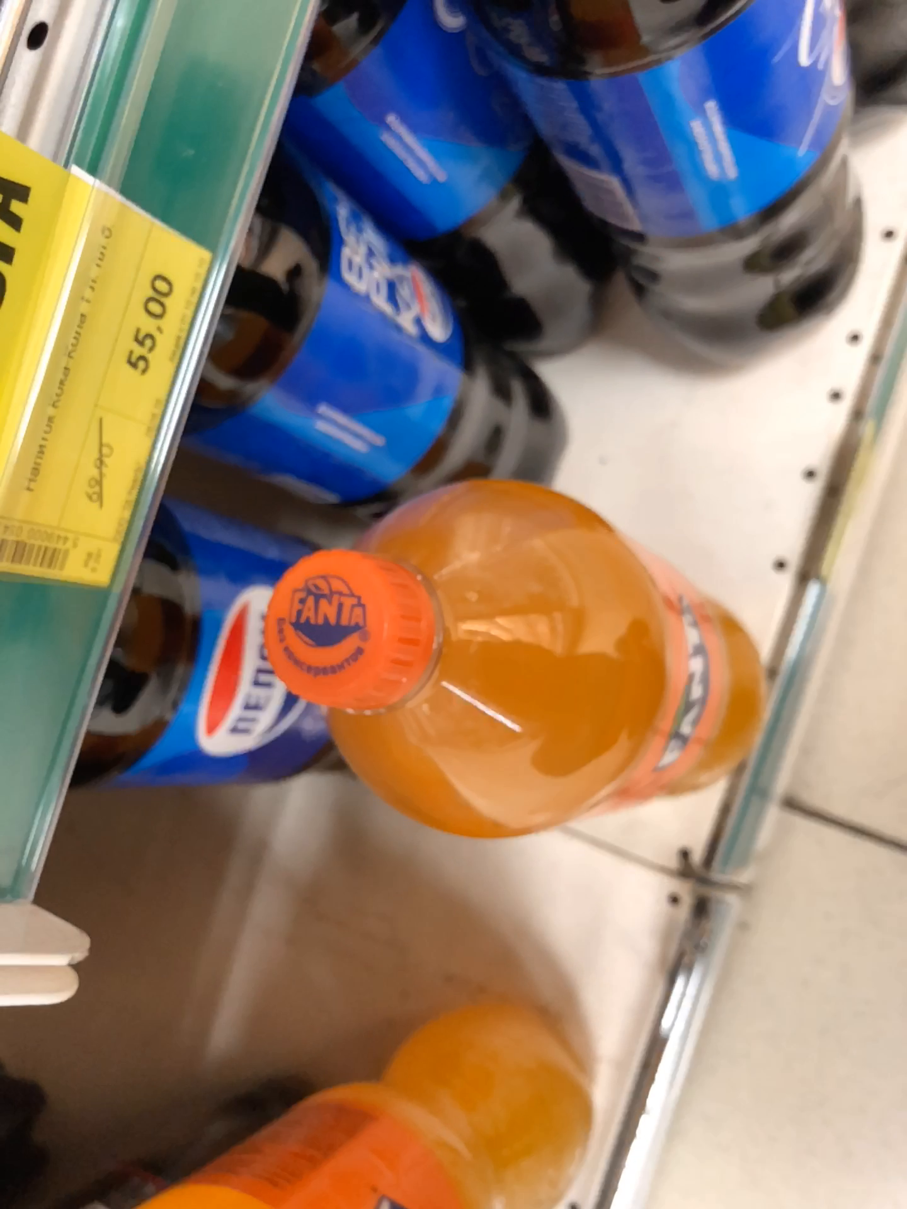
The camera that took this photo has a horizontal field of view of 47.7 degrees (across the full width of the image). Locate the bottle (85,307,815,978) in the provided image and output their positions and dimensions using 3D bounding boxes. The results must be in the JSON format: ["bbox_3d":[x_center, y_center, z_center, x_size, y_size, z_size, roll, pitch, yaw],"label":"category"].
[{"bbox_3d":[0.042,0.017,0.322,0.090,0.309,0.100,14,90,25],"label":"bottle"}]
